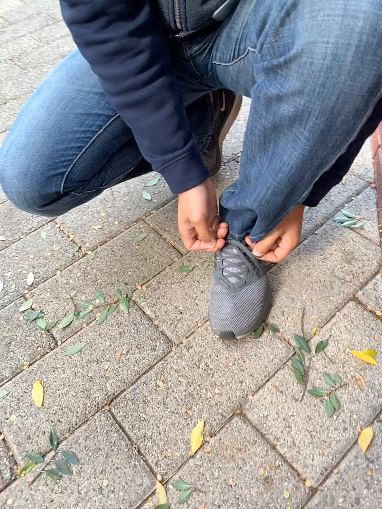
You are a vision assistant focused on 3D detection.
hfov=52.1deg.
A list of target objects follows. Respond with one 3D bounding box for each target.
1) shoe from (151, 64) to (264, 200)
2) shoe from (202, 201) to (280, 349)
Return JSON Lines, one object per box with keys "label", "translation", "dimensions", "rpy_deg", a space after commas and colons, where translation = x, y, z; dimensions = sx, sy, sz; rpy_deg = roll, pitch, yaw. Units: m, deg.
{"label": "shoe", "translation": [0.033, -0.285, 0.938], "dimensions": [0.098, 0.274, 0.116], "rpy_deg": [7, 34, -47]}
{"label": "shoe", "translation": [0.103, 0.028, 0.759], "dimensions": [0.111, 0.083, 0.280], "rpy_deg": [8, 53, 10]}
